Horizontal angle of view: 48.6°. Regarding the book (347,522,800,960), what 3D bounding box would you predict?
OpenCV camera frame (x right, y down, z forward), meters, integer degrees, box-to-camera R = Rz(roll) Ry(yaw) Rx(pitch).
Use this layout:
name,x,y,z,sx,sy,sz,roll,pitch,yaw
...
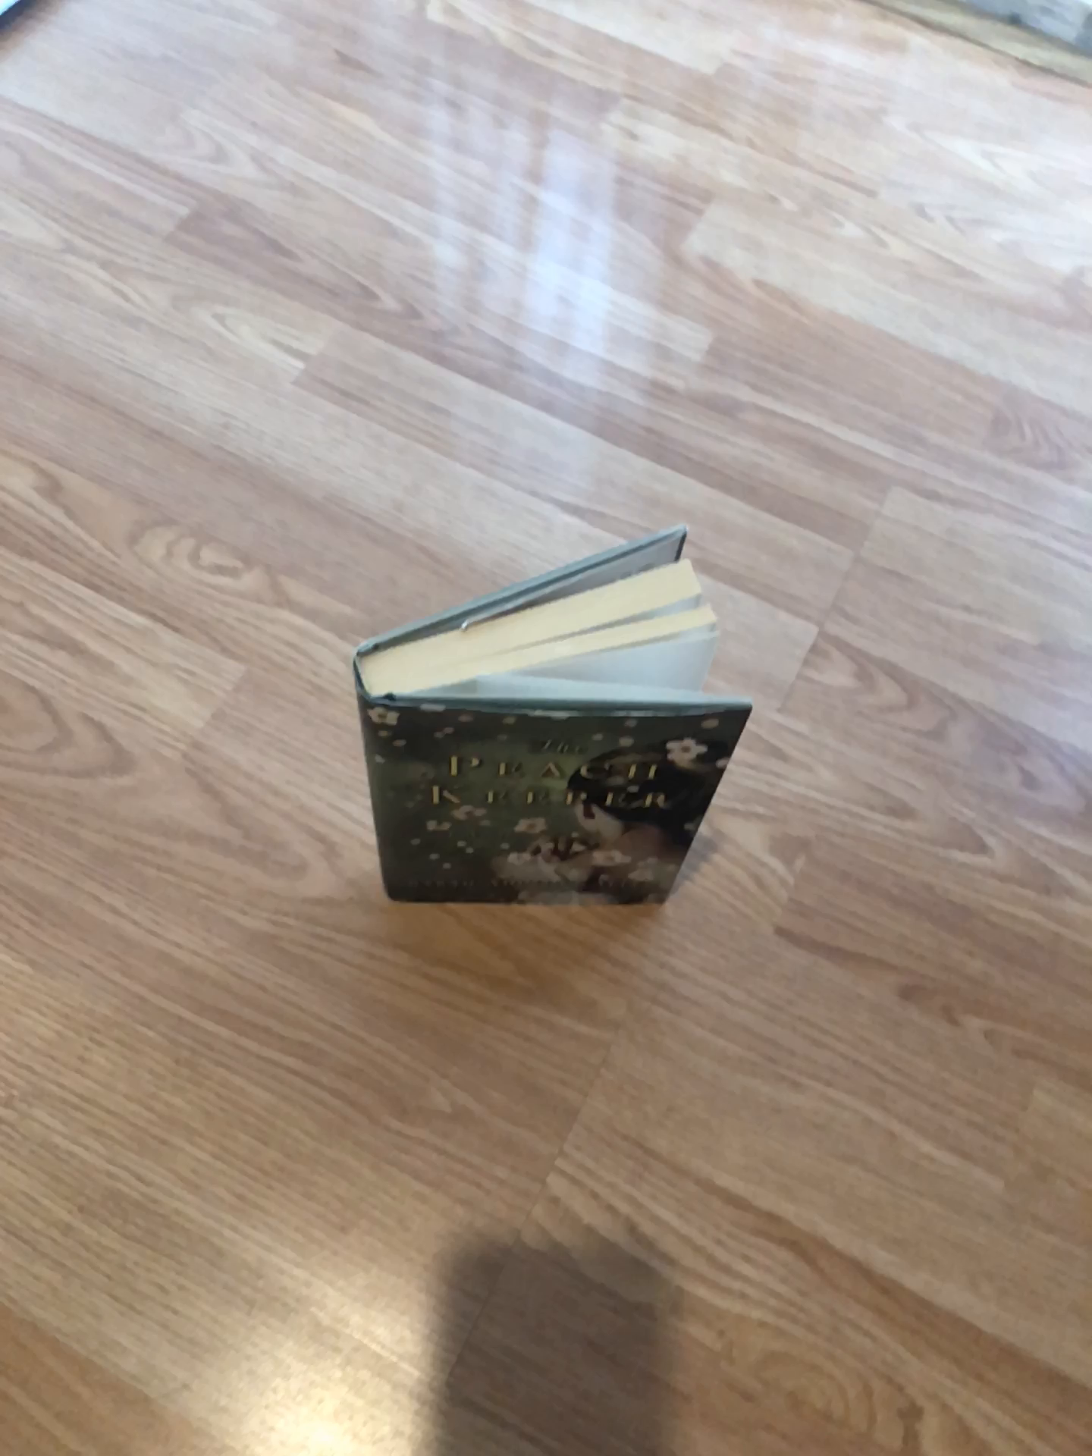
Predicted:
name,x,y,z,sx,sy,sz,roll,pitch,yaw
book,0.000,0.018,0.536,0.150,0.220,0.080,-10,64,-11
